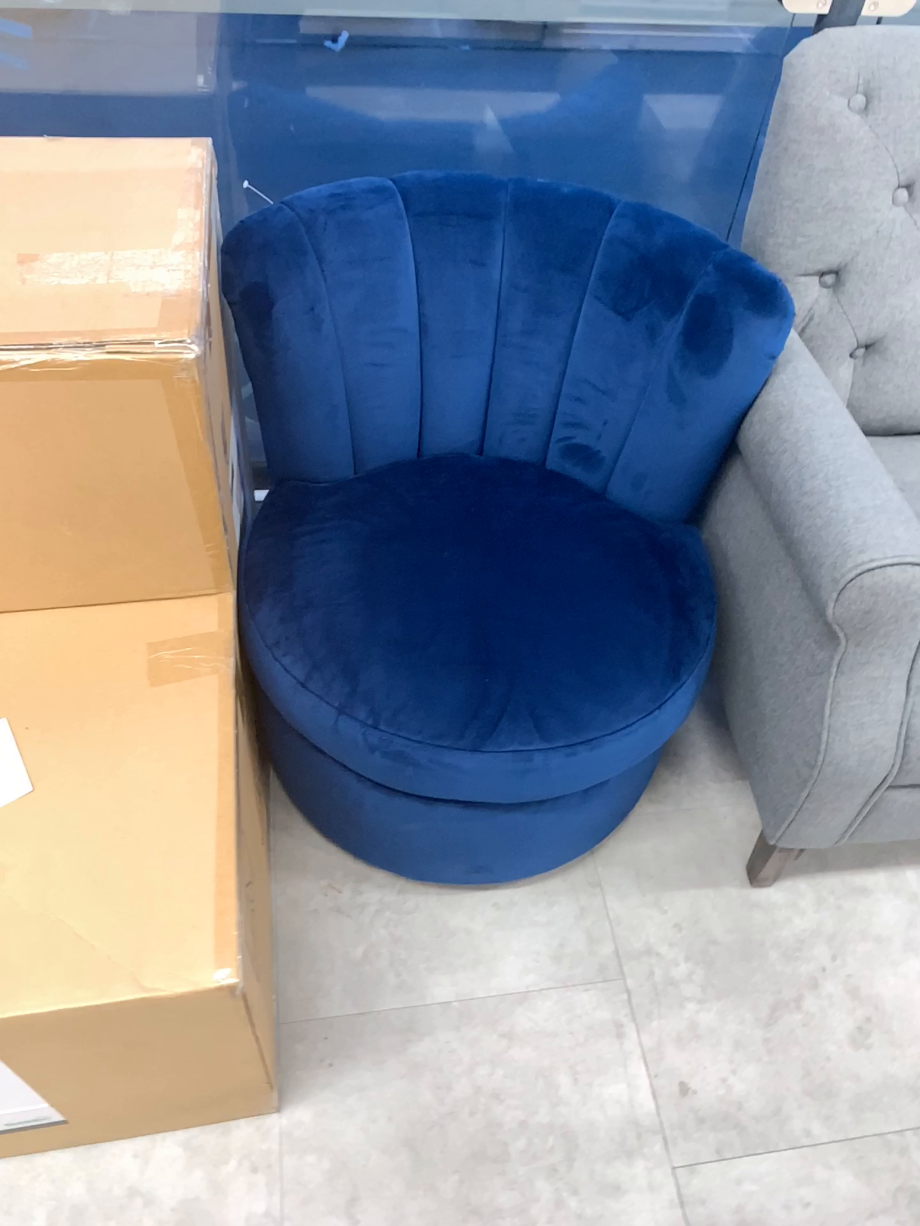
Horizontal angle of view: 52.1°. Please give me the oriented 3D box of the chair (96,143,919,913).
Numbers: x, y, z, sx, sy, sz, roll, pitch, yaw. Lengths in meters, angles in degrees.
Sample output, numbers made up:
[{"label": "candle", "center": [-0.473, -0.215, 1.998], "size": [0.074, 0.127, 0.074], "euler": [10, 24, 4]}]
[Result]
[{"label": "chair", "center": [0.023, -0.085, 1.192], "size": [0.640, 0.674, 0.666], "euler": [2, 49, -3]}]
